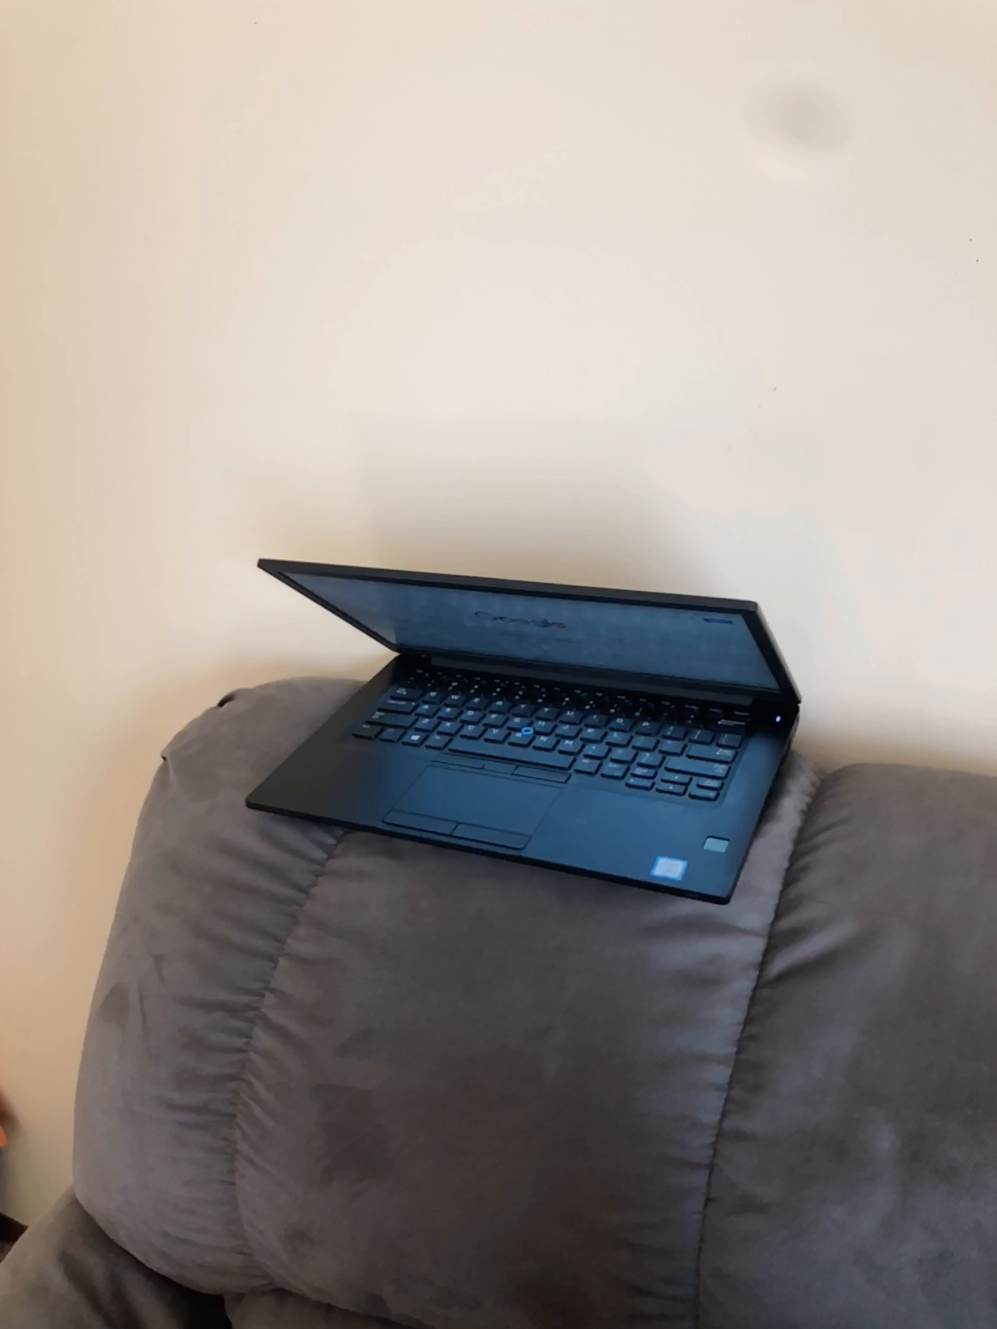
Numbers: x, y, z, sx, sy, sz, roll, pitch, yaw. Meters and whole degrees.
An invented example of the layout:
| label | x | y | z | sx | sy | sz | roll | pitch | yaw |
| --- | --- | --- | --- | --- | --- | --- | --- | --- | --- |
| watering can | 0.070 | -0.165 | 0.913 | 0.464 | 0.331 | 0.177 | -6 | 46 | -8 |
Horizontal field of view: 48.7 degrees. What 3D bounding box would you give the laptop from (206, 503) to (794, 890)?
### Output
| label | x | y | z | sx | sy | sz | roll | pitch | yaw |
| --- | --- | --- | --- | --- | --- | --- | --- | --- | --- |
| laptop | 0.009 | -0.001 | 0.735 | 0.321 | 0.128 | 0.214 | 7 | 28 | 24 |
